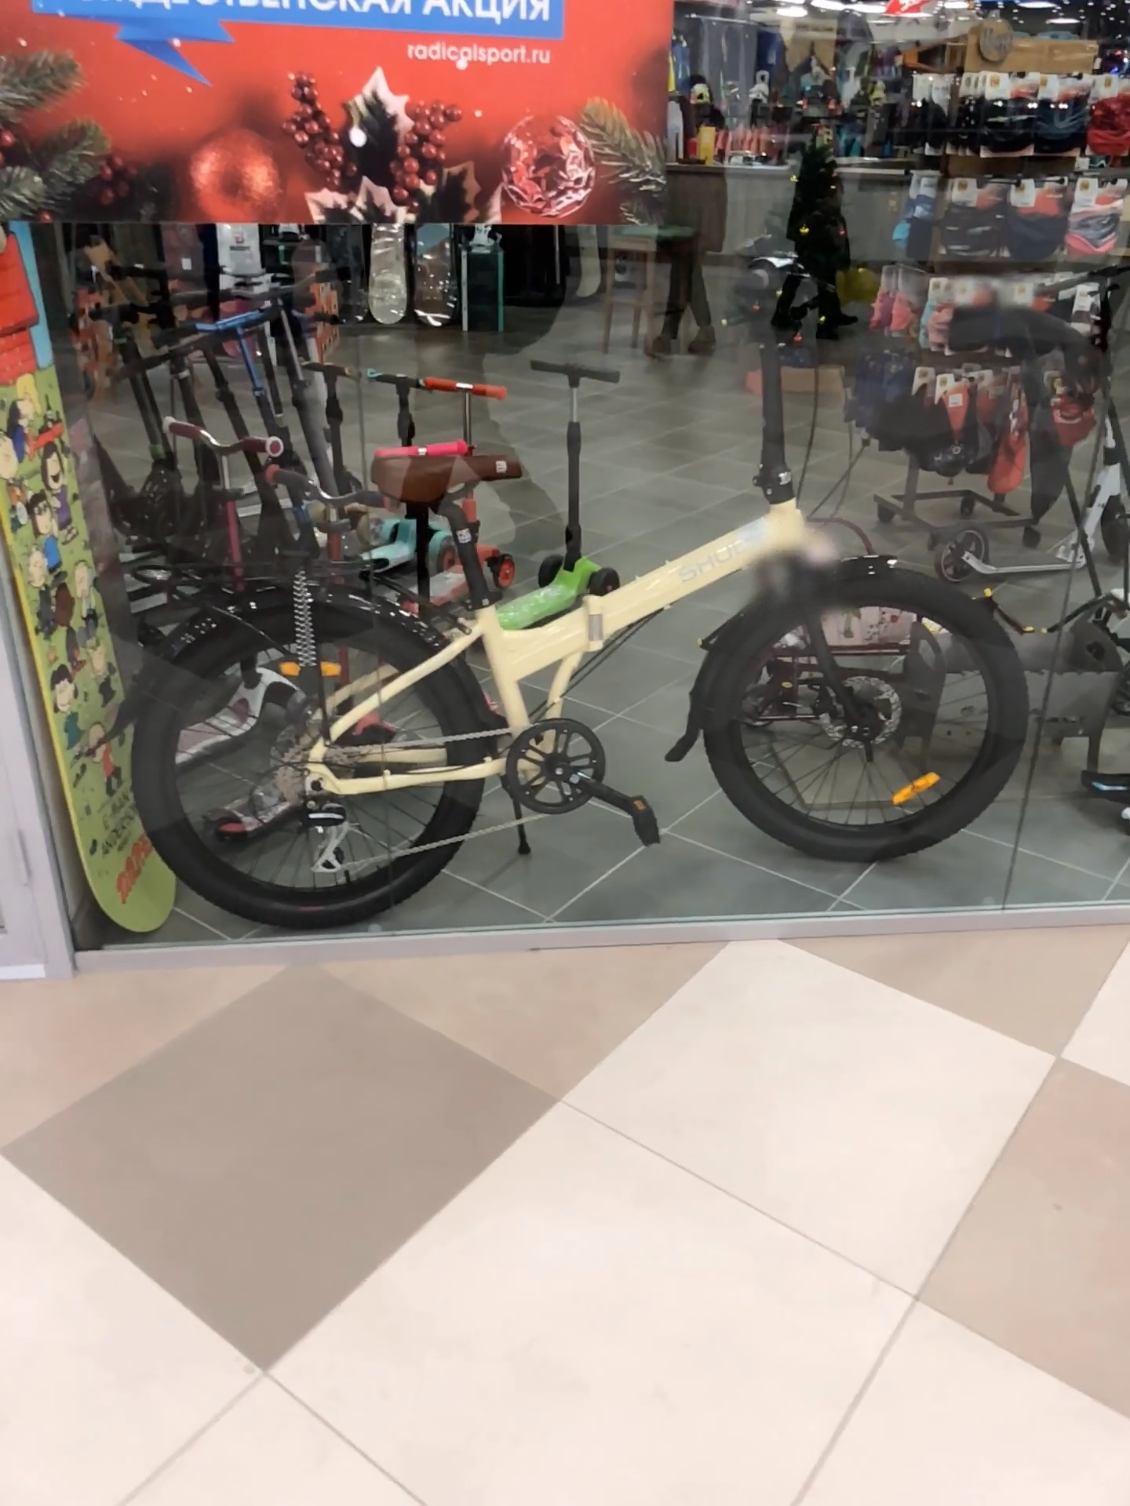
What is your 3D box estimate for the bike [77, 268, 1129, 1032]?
[{"bbox_3d":[0.103,-0.215,2.231,1.702,1.175,0.596,-3,25,-9],"label":"bike"}]
